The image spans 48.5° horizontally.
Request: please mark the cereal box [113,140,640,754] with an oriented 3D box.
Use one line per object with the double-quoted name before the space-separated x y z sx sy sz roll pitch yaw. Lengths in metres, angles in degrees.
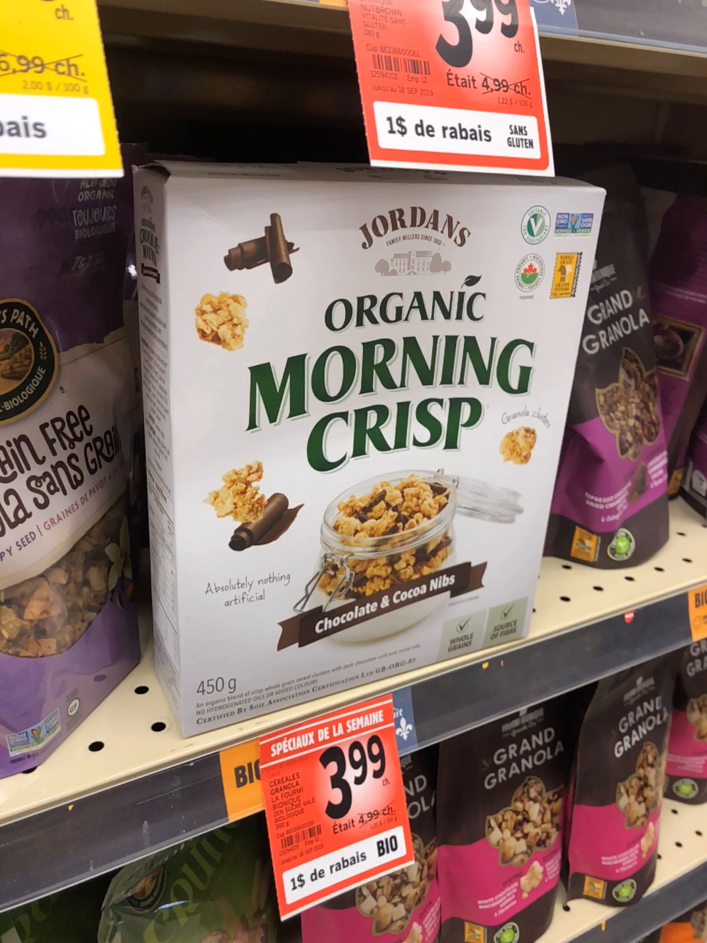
"cereal box" 0.008 -0.013 0.311 0.180 0.209 0.050 -9 26 -26
